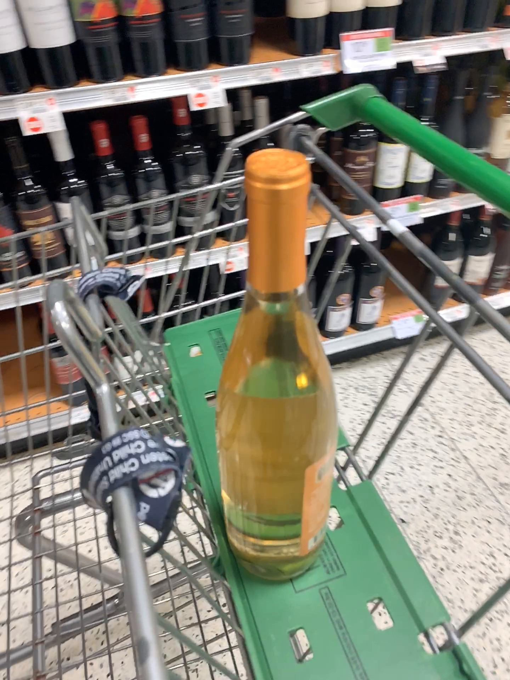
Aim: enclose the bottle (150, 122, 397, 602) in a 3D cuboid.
[{"bbox_3d":[0.018,0.037,0.320,0.083,0.297,0.087,-2,39,1],"label":"bottle"}]
